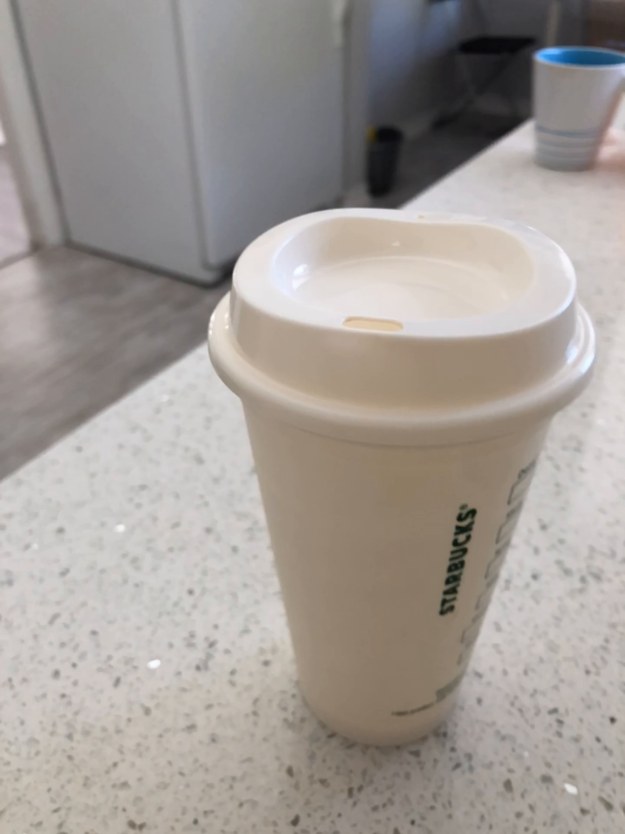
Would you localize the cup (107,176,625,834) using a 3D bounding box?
[{"bbox_3d":[0.020,0.023,0.198,0.090,0.139,0.090,-1,36,1],"label":"cup"}]
